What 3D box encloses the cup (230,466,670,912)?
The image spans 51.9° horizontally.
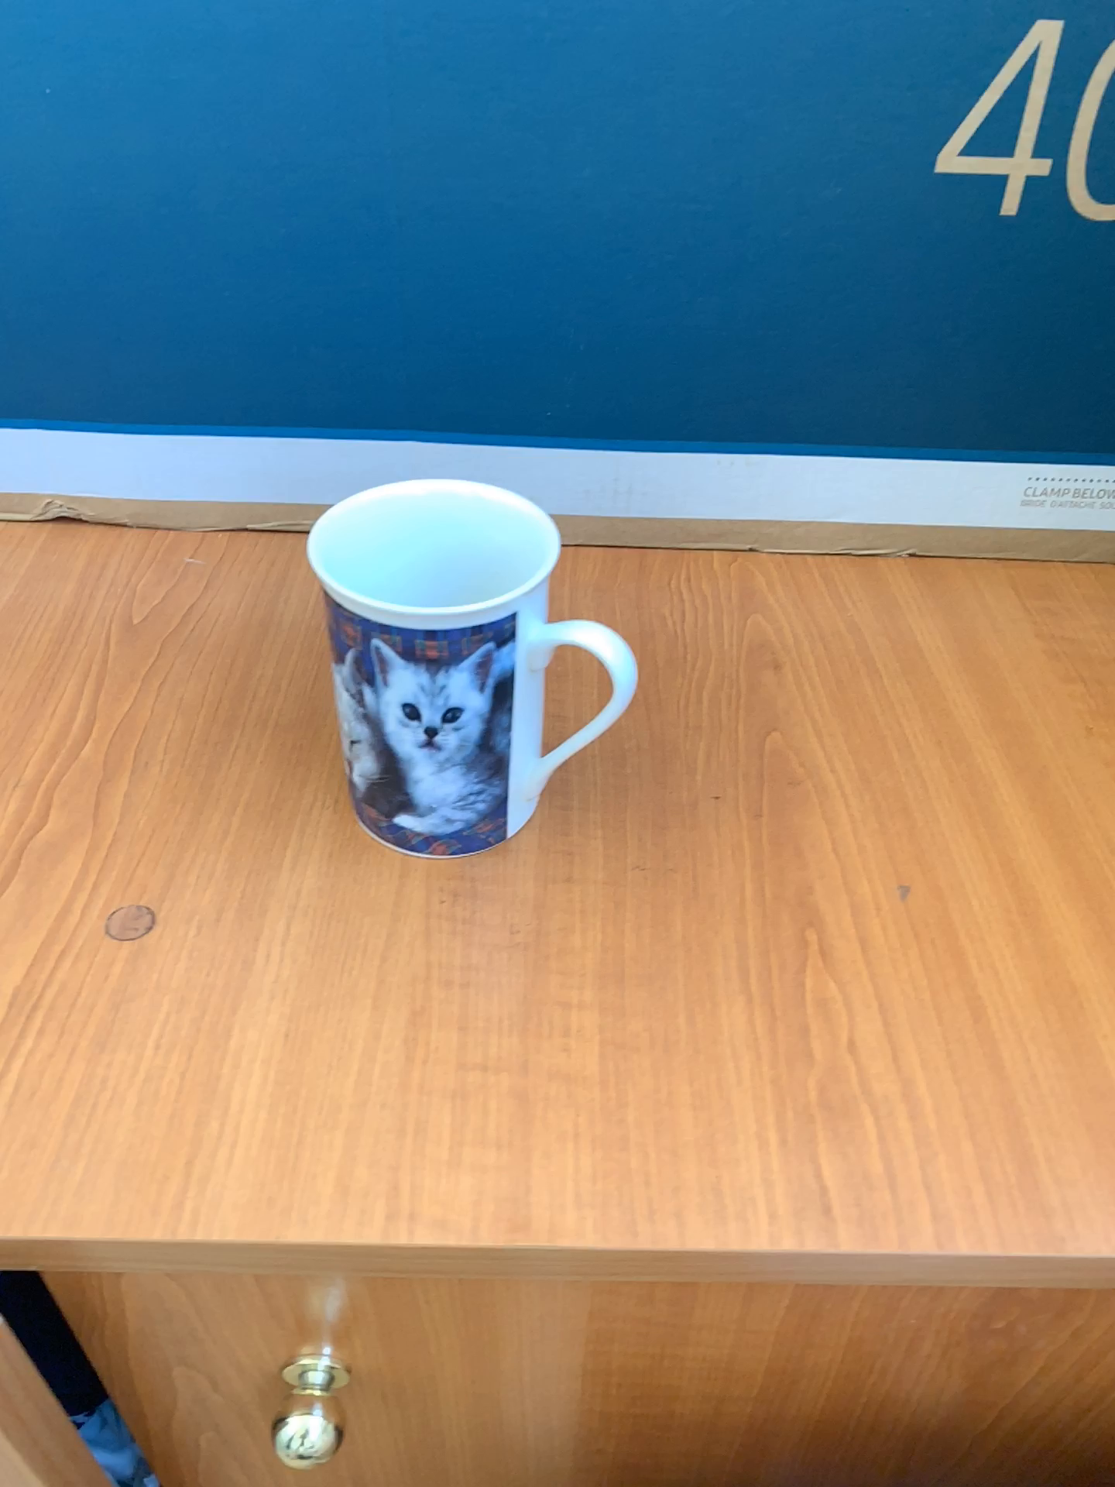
[{"bbox_3d":[-0.028,-0.018,0.363,0.110,0.100,0.080,8,40,8],"label":"cup"}]
